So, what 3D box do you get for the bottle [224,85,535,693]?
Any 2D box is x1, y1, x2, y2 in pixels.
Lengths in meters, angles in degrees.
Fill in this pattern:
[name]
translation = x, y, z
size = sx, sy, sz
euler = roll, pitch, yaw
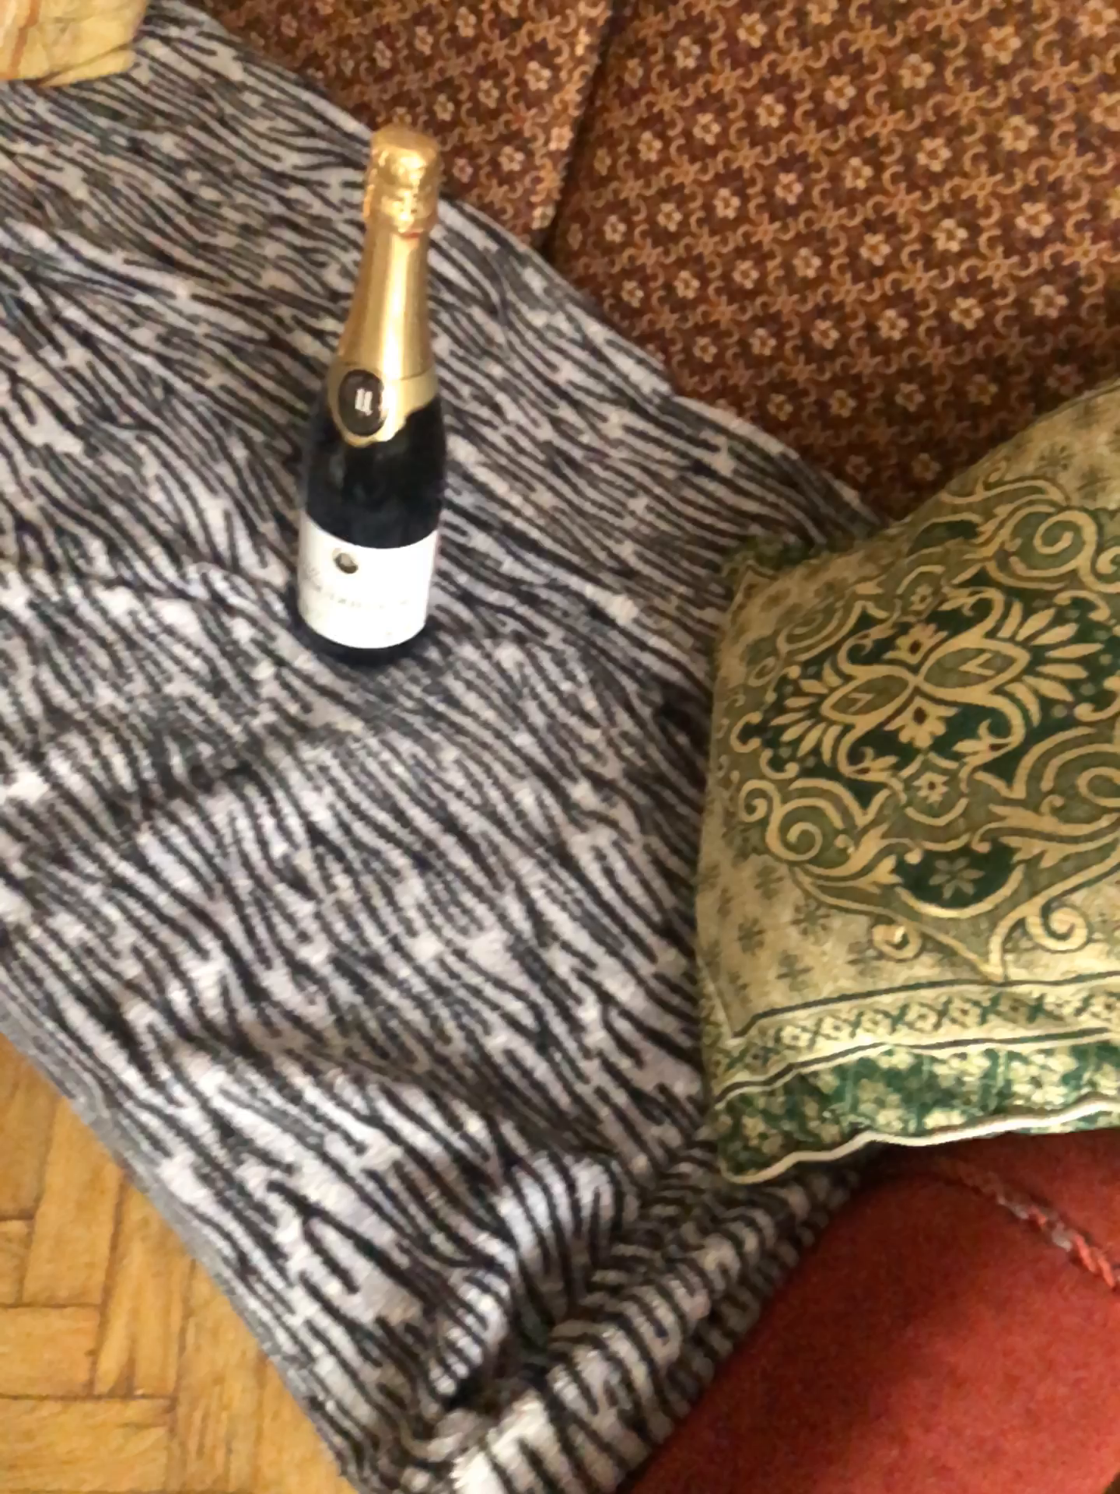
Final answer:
[bottle]
translation = -0.098, -0.173, 0.654
size = 0.100, 0.279, 0.100
euler = 6, 50, -7
